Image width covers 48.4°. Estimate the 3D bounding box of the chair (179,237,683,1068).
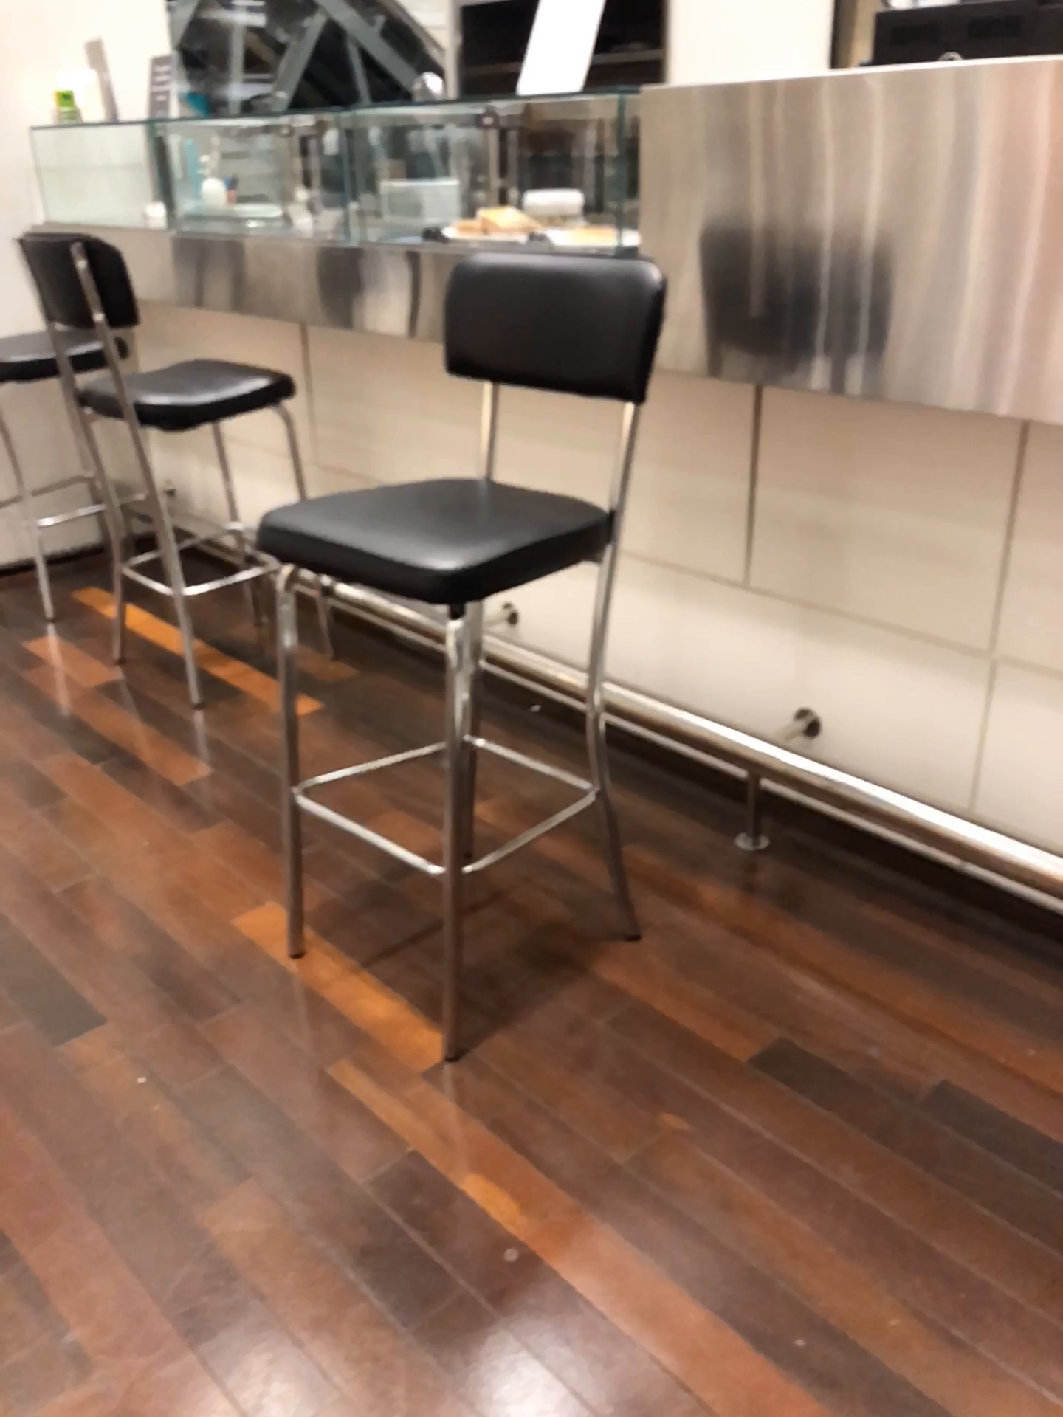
[{"bbox_3d":[-0.111,-0.110,1.680,0.422,1.013,0.472,20,31,39],"label":"chair"}]
